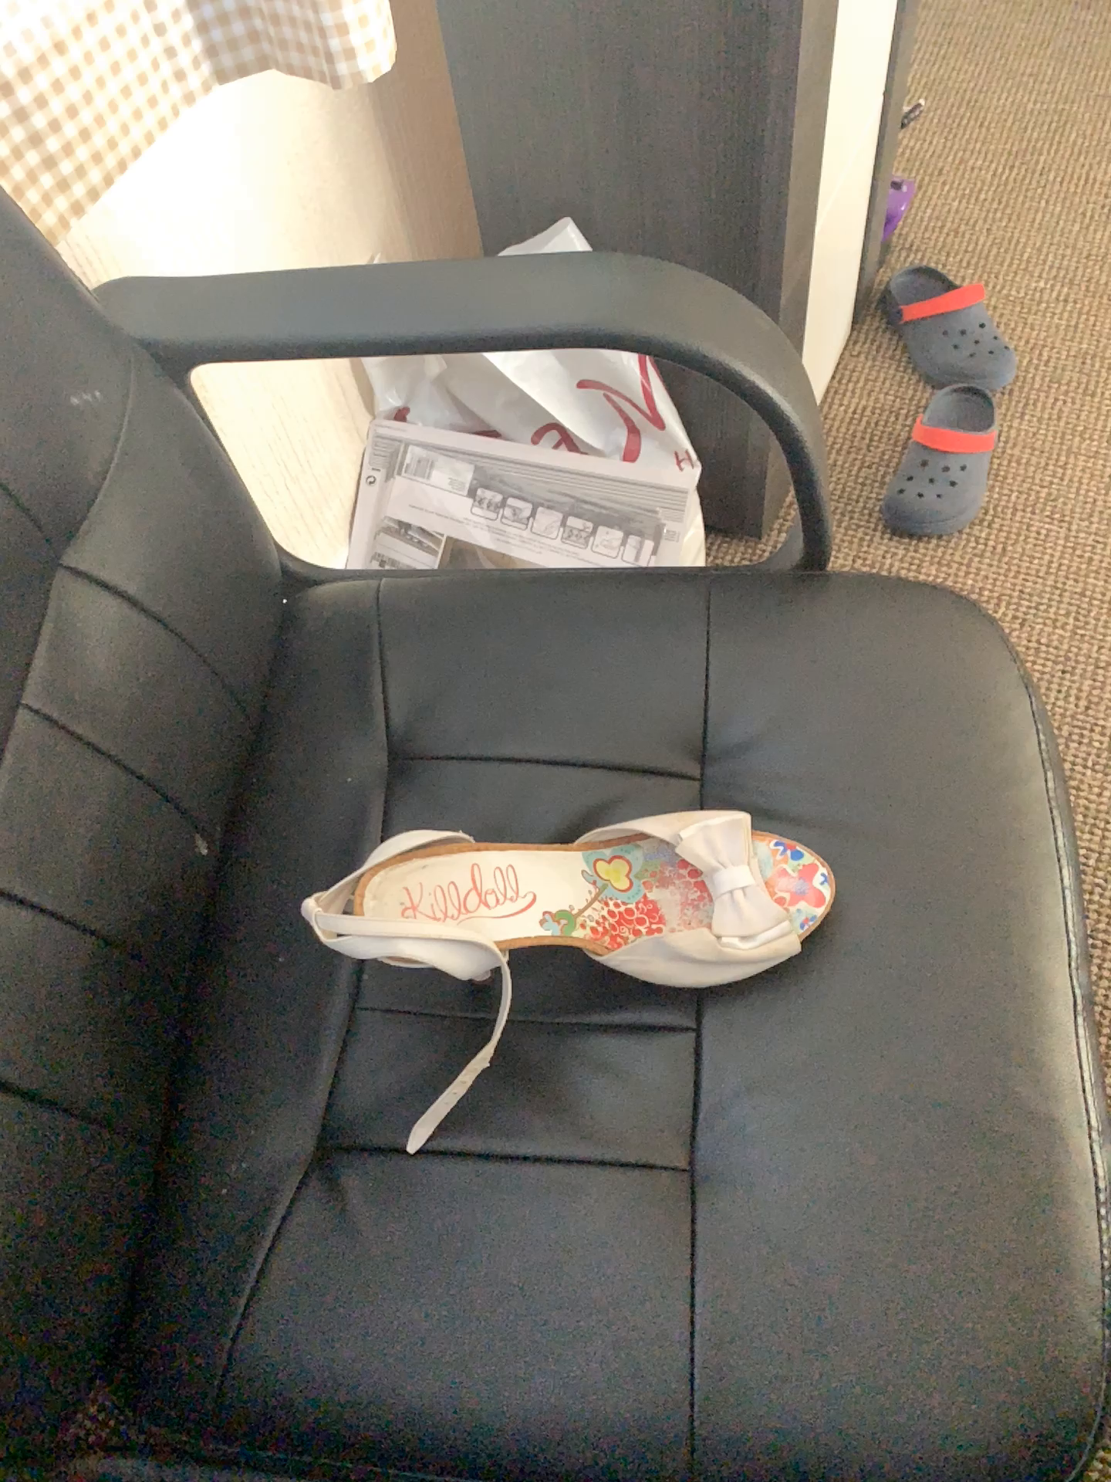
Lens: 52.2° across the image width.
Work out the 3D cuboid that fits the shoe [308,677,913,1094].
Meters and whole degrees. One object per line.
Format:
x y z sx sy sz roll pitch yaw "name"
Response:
0.026 0.082 0.555 0.240 0.189 0.101 -10 60 1 "shoe"
